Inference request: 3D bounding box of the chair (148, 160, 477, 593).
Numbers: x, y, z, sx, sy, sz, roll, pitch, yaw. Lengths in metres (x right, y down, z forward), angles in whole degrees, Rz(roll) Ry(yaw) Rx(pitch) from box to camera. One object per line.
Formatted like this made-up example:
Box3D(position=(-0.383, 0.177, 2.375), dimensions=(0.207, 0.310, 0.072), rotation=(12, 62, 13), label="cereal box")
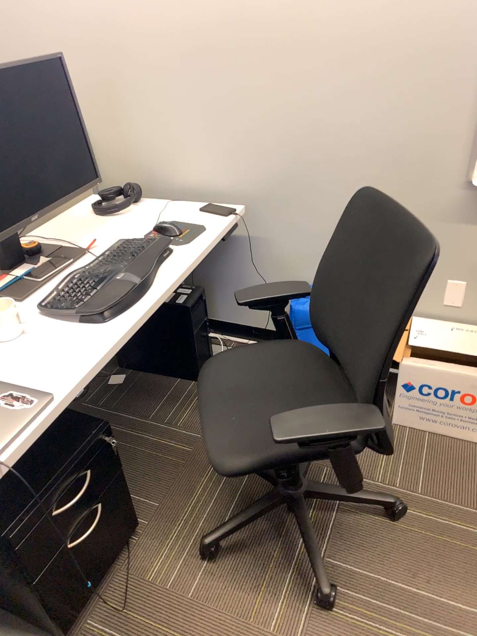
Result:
Box3D(position=(0.128, 0.125, 1.536), dimensions=(0.610, 0.944, 0.835), rotation=(-10, 34, -9), label="chair")
